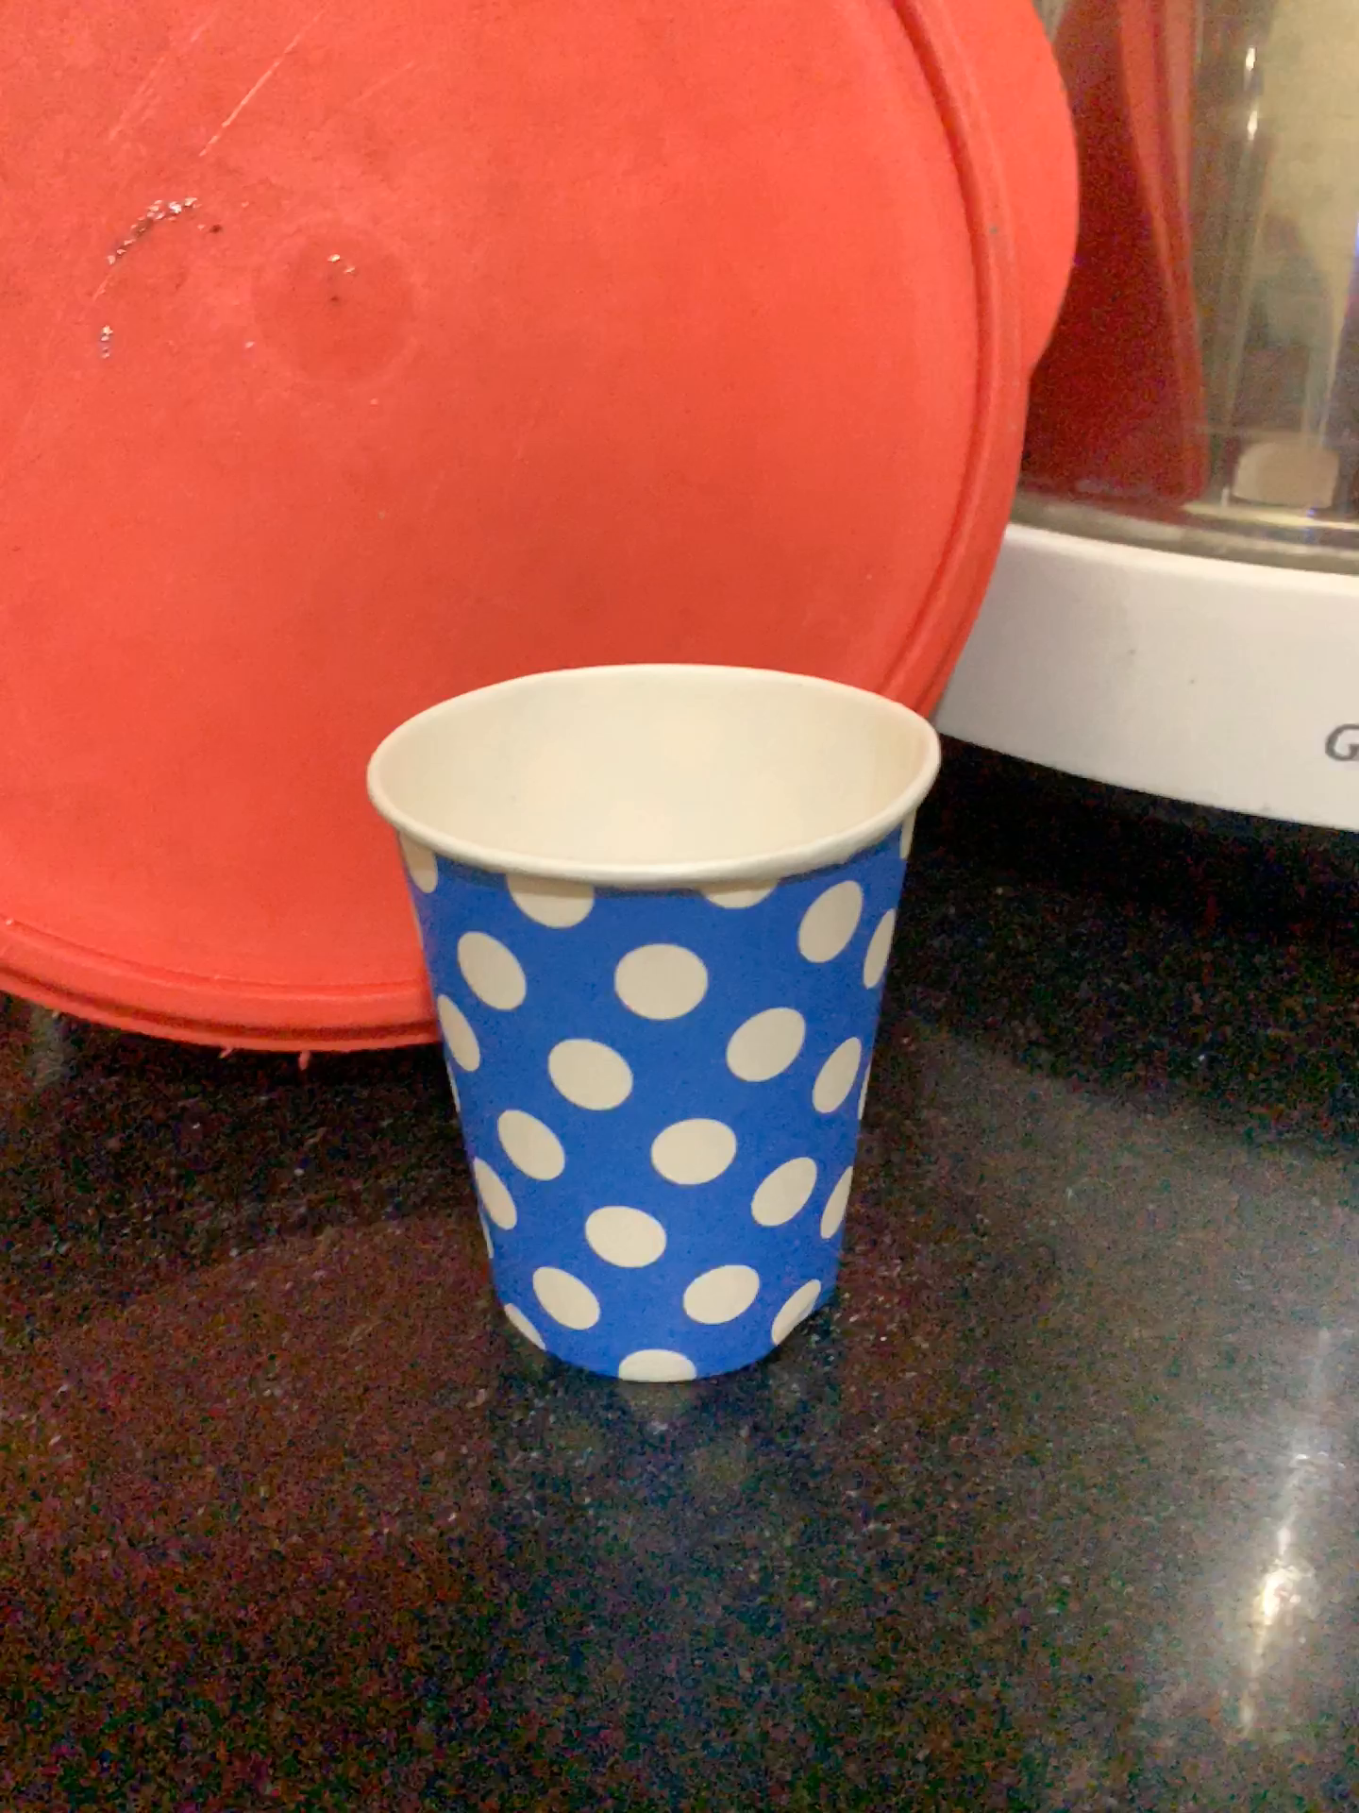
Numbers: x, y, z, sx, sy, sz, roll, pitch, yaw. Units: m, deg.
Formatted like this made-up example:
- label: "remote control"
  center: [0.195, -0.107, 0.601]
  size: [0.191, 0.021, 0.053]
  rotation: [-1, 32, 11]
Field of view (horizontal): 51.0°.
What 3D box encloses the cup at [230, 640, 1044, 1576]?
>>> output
- label: "cup"
  center: [-0.007, 0.017, 0.187]
  size: [0.070, 0.079, 0.070]
  rotation: [0, 25, 0]
